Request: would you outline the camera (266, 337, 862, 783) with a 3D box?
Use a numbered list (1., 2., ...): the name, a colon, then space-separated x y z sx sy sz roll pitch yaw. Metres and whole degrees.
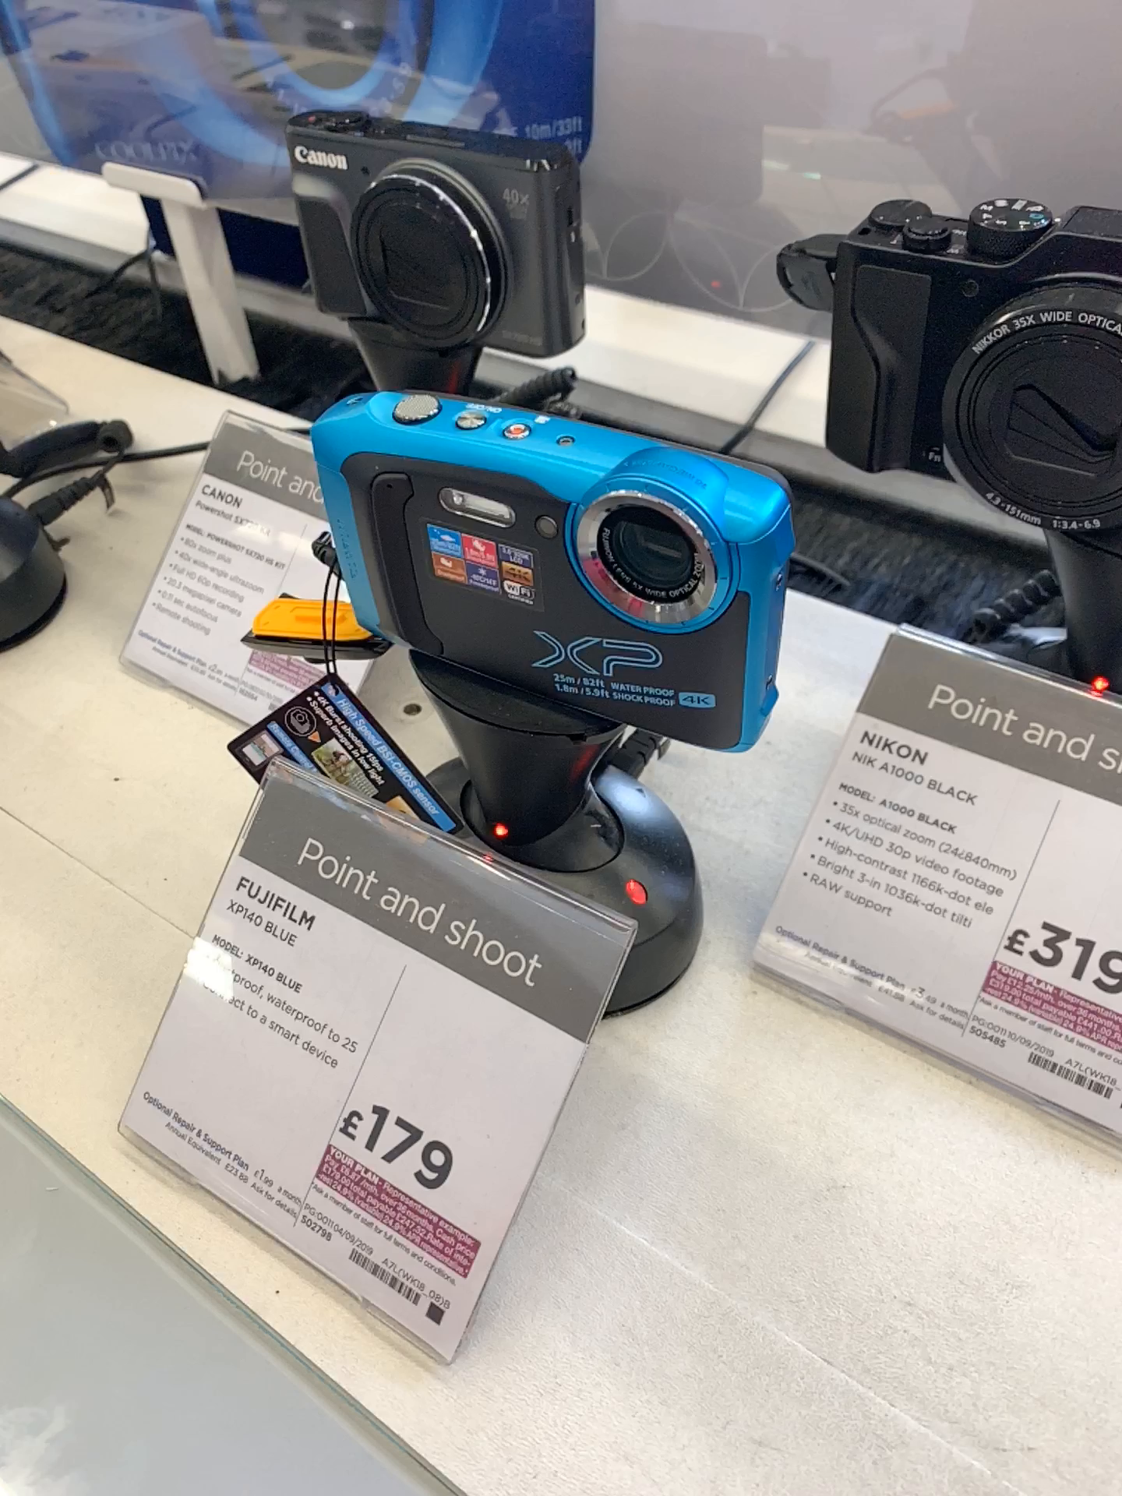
1. camera: 0.000 -0.040 0.236 0.110 0.059 0.030 18 49 23
